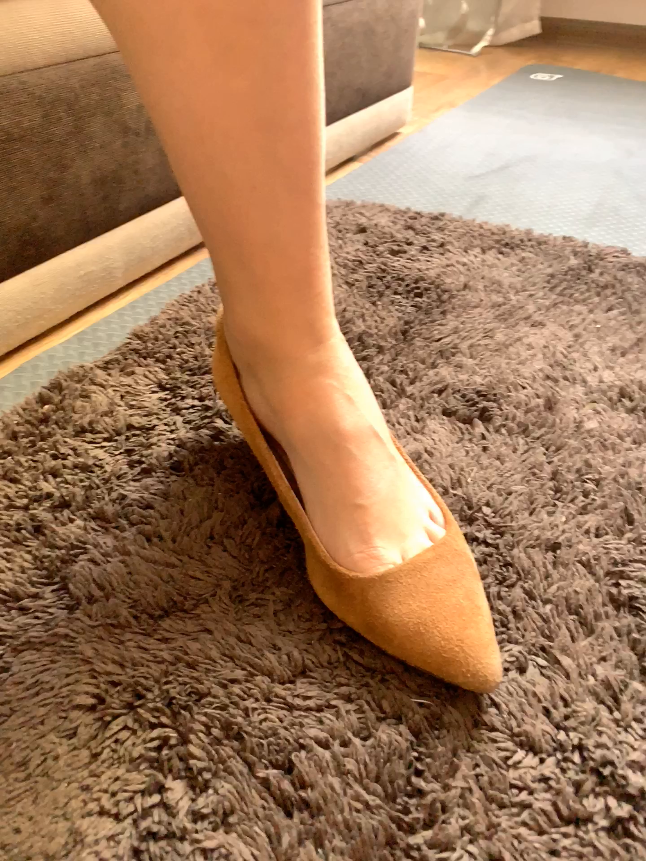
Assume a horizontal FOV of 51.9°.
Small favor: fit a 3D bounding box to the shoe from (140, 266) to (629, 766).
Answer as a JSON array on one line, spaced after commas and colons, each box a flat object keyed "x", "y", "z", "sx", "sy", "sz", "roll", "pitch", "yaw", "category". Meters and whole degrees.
[{"x": 0.004, "y": 0.013, "z": 0.326, "sx": 0.090, "sy": 0.080, "sz": 0.251, "roll": -21, "pitch": 44, "yaw": -25, "category": "shoe"}]
